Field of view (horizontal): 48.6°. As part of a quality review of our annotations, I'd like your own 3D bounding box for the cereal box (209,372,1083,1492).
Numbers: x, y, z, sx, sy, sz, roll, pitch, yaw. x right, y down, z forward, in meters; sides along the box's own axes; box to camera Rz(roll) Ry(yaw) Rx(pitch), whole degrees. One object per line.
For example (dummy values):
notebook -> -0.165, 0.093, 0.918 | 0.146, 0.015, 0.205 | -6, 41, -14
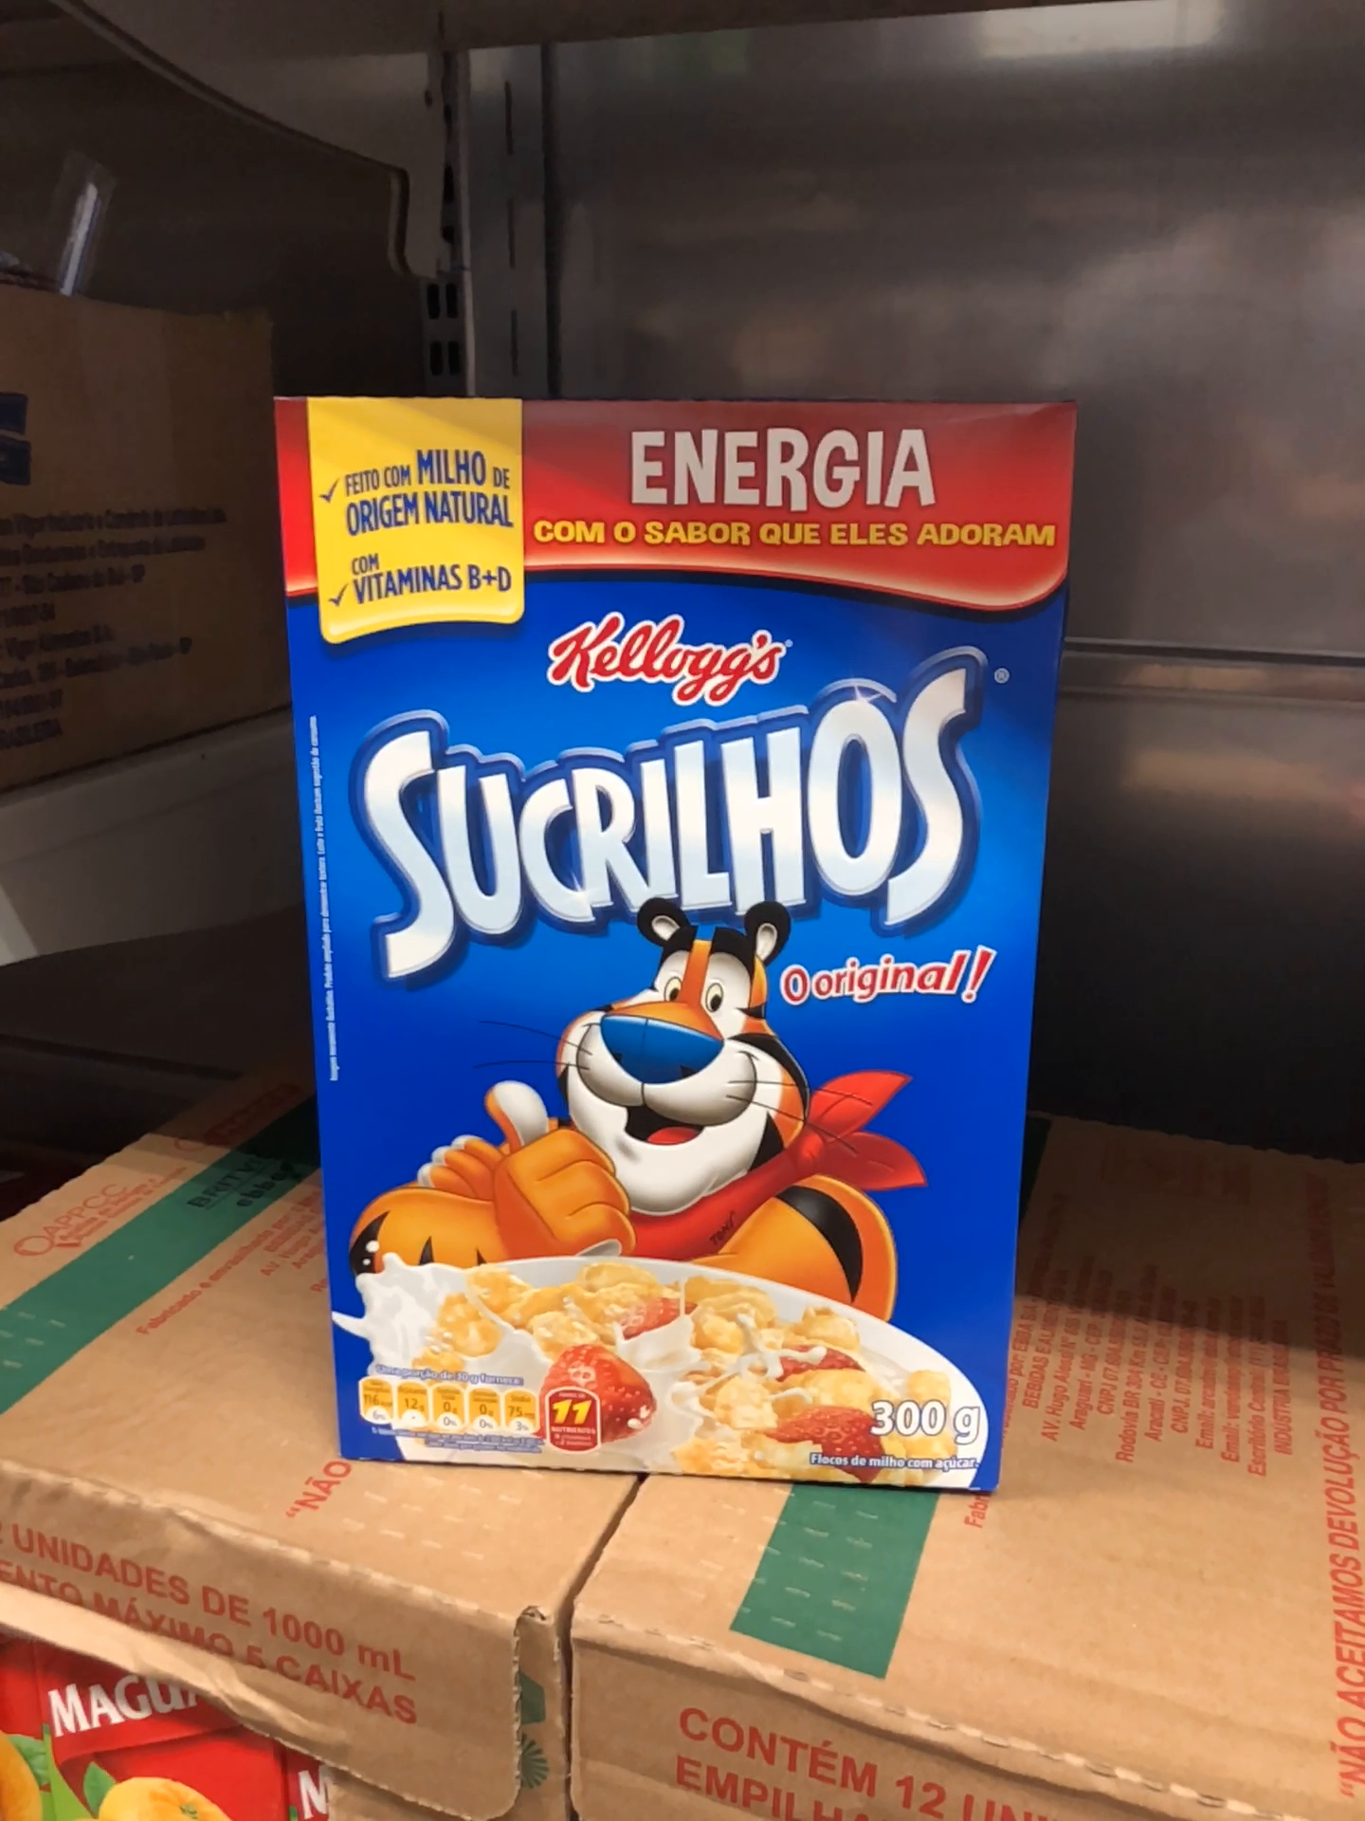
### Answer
cereal box -> -0.006, 0.007, 0.357 | 0.170, 0.249, 0.060 | 1, 17, 5
